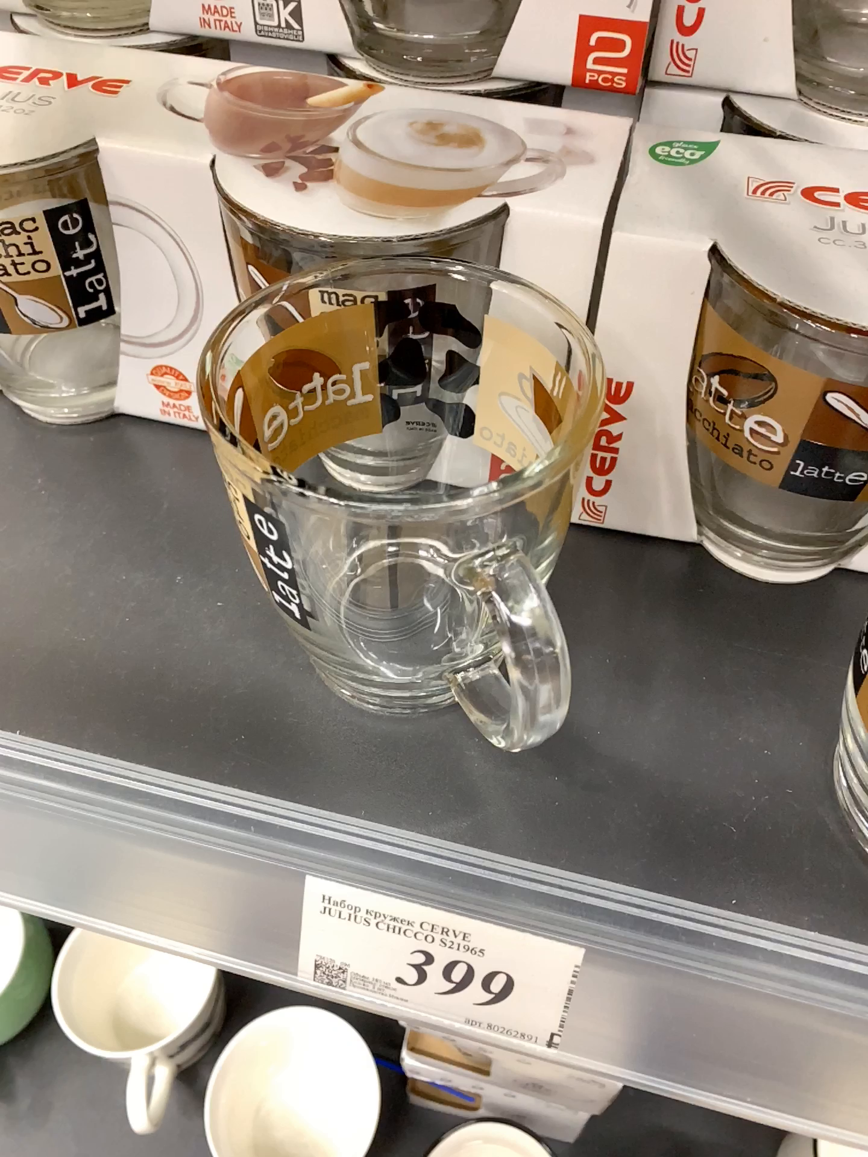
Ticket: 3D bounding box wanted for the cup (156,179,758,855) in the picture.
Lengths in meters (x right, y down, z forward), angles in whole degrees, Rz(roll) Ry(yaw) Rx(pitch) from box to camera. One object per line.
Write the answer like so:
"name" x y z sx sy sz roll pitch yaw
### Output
"cup" -0.005 -0.019 0.214 0.084 0.086 0.119 -15 52 -14
